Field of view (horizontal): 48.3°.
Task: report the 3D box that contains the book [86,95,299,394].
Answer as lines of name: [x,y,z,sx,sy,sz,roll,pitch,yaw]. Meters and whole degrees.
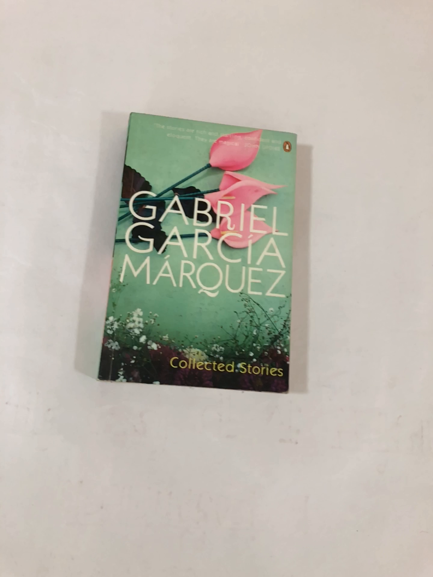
book: [-0.011,-0.033,0.341,0.130,0.030,0.200,5,75,-6]
